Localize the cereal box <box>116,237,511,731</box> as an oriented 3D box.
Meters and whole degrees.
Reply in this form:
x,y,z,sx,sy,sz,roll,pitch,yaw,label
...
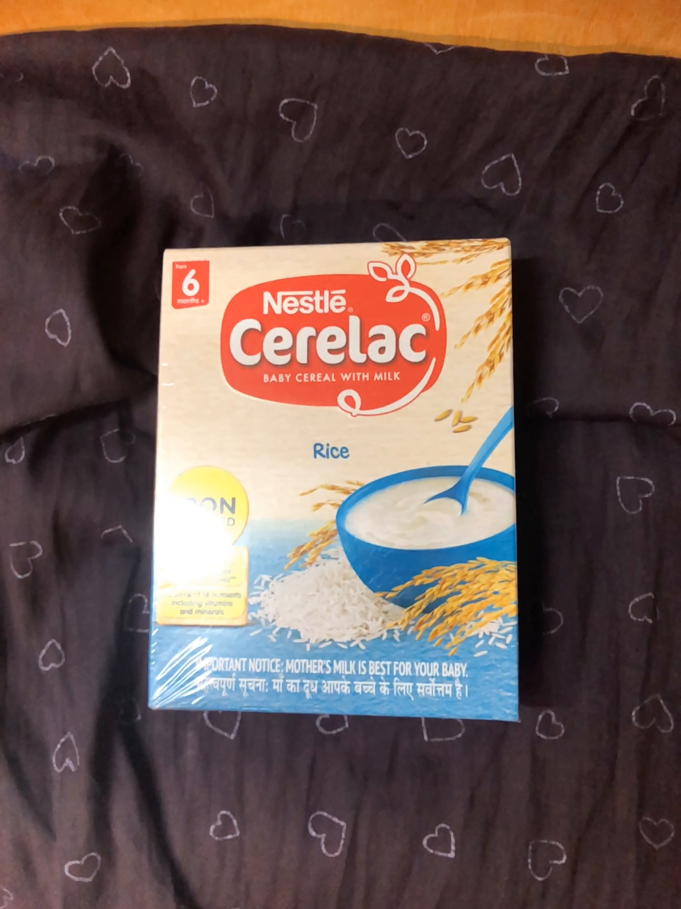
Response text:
x,y,z,sx,sy,sz,roll,pitch,yaw,label
-0.009,0.012,0.349,0.160,0.070,0.200,0,84,6,cereal box
